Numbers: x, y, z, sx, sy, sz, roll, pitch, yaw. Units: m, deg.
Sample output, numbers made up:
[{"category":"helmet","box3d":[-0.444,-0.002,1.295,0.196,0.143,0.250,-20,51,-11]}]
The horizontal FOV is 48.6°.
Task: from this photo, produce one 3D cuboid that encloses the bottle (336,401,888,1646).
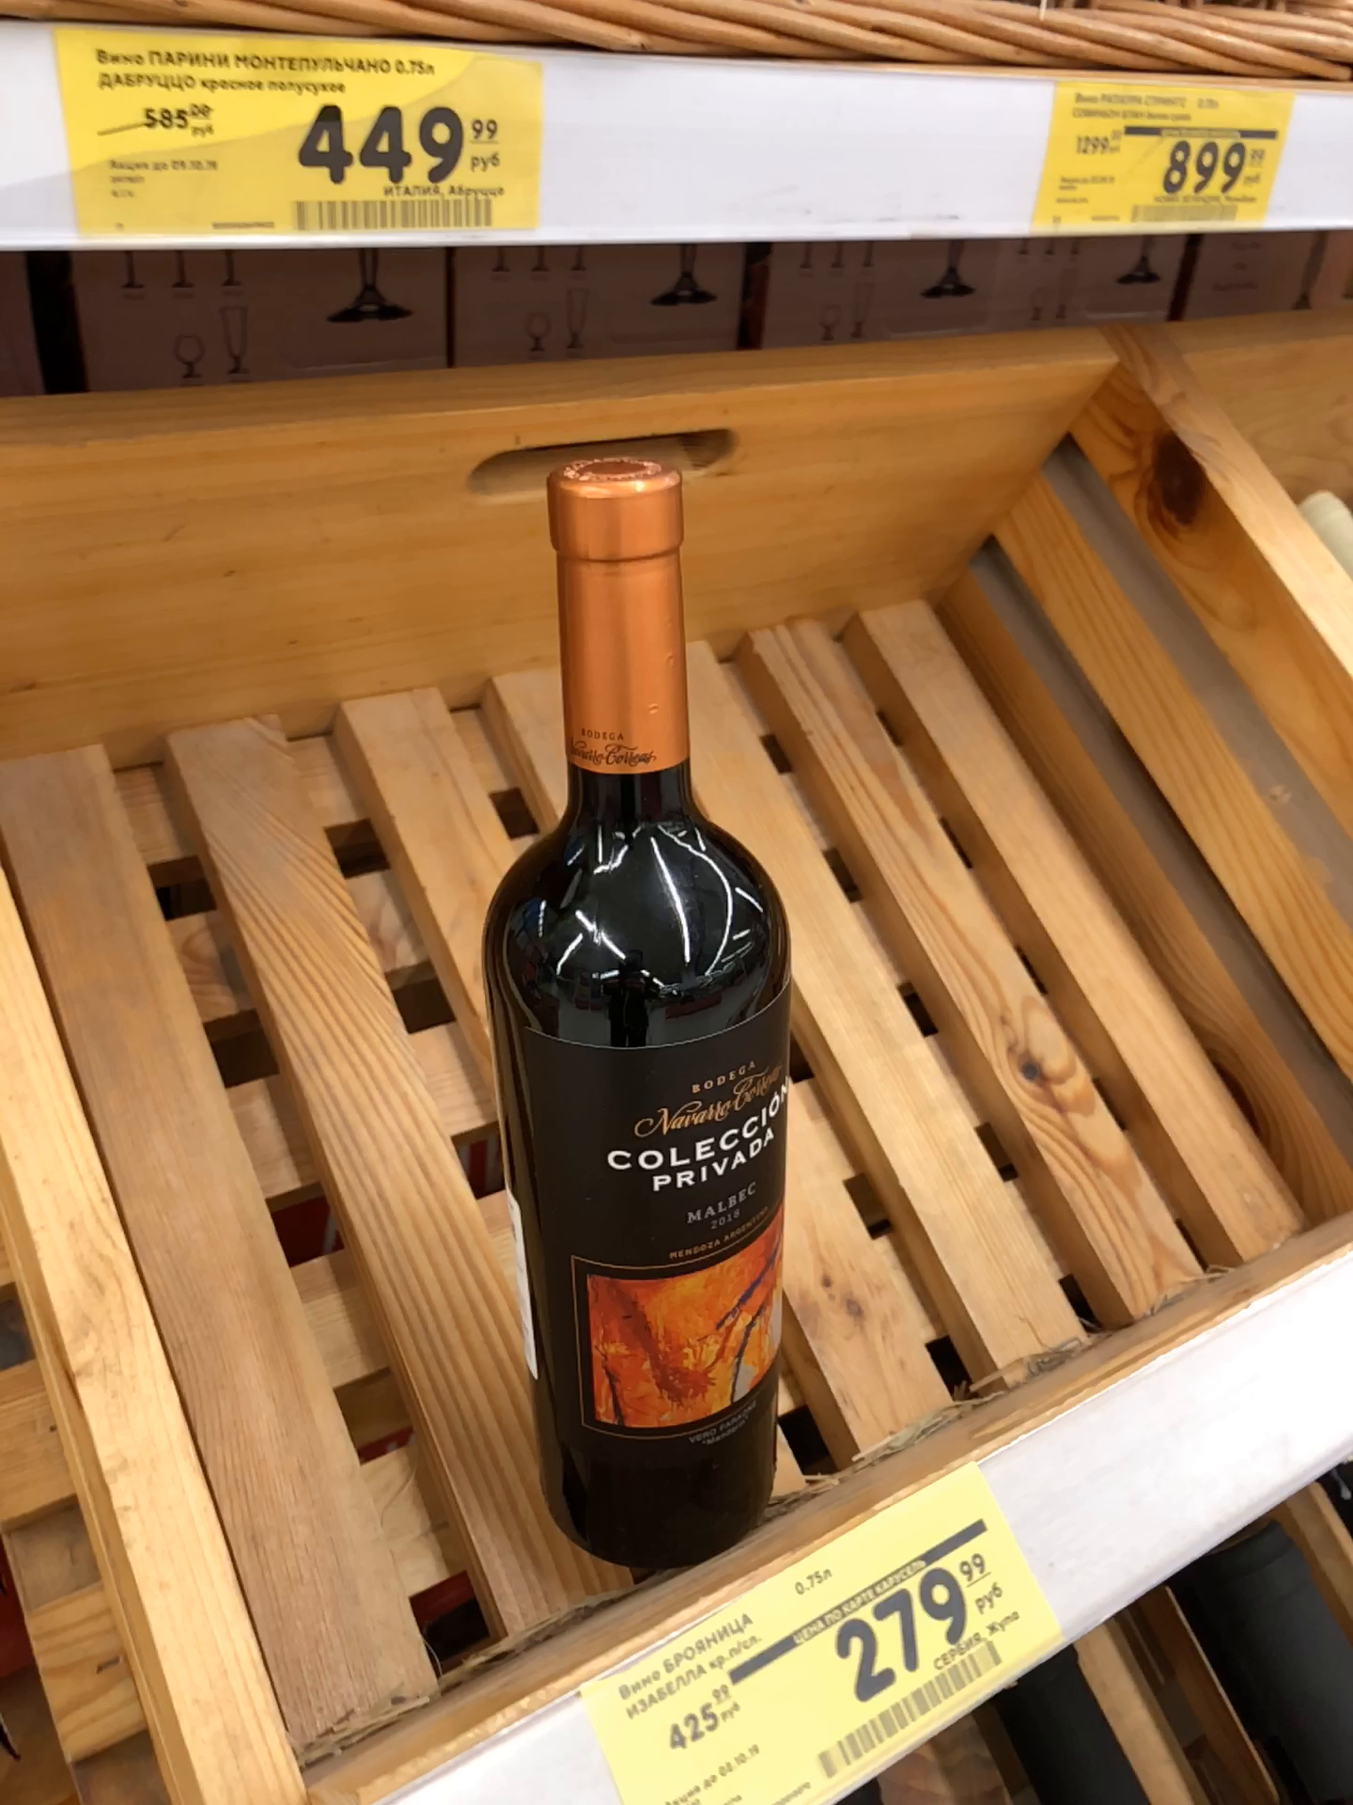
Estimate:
[{"category":"bottle","box3d":[-0.010,0.035,0.372,0.086,0.289,0.080,-2,26,1]}]
